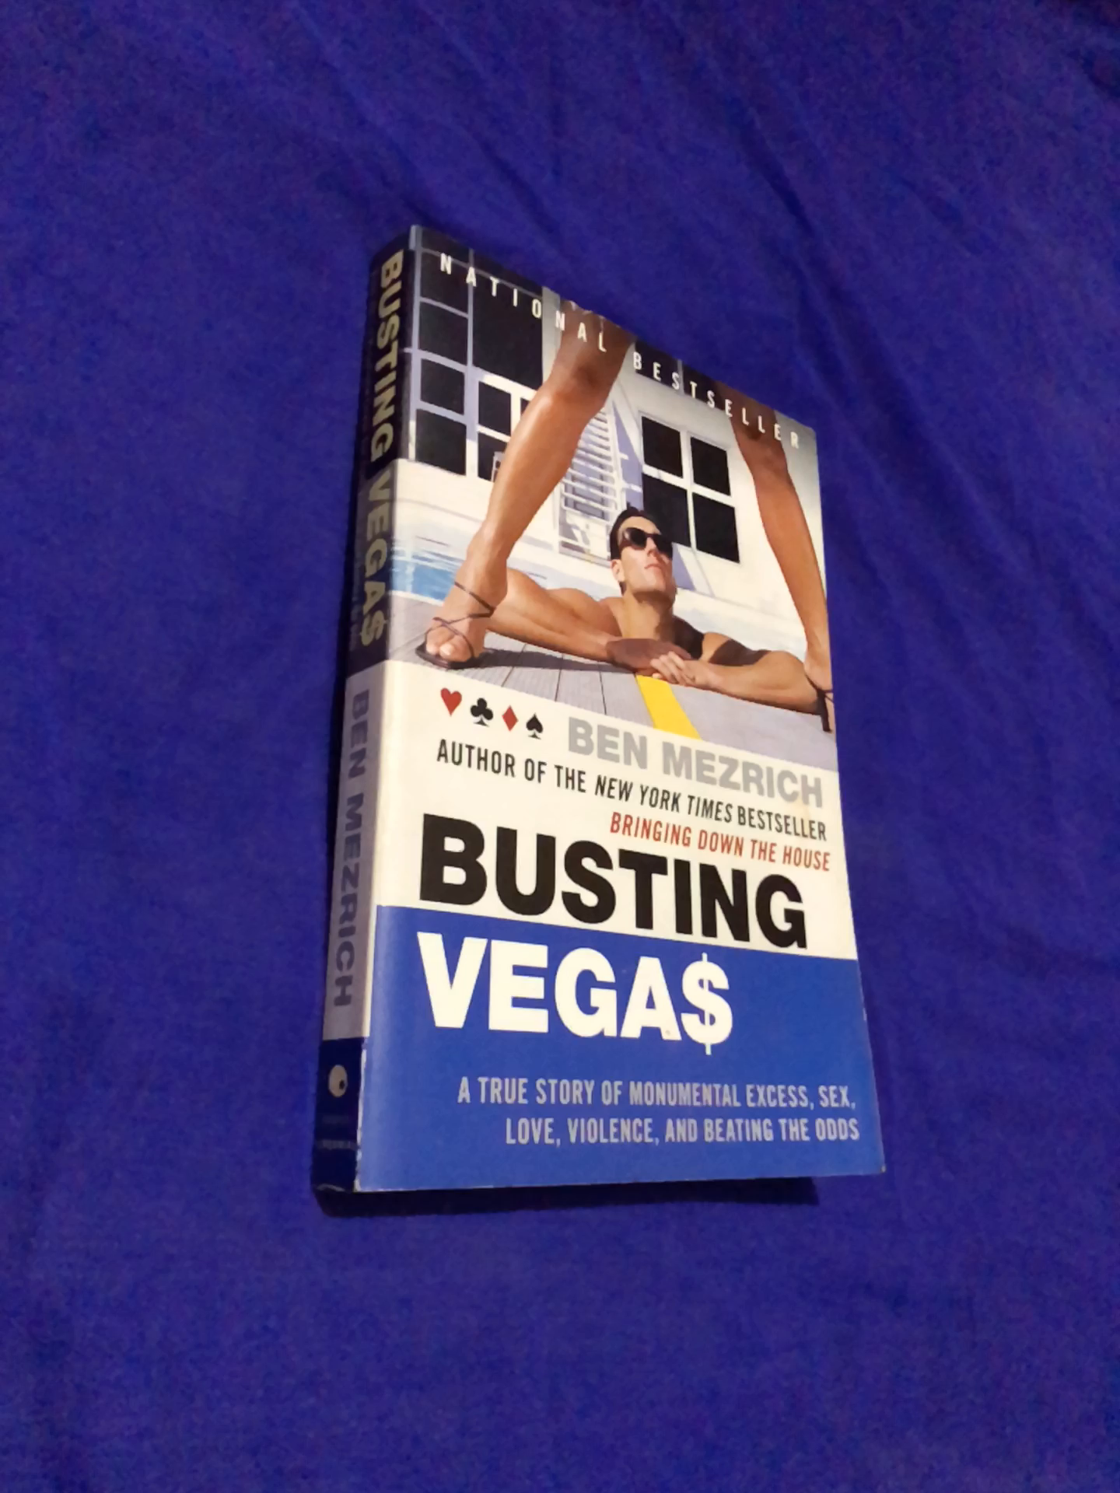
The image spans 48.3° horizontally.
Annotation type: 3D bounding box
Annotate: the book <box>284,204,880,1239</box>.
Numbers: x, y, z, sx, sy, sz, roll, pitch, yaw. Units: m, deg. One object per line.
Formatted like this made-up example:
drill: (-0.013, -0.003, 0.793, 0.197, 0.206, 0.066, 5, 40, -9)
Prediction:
book: (0.010, -0.001, 0.295, 0.131, 0.040, 0.210, 13, 68, -37)
